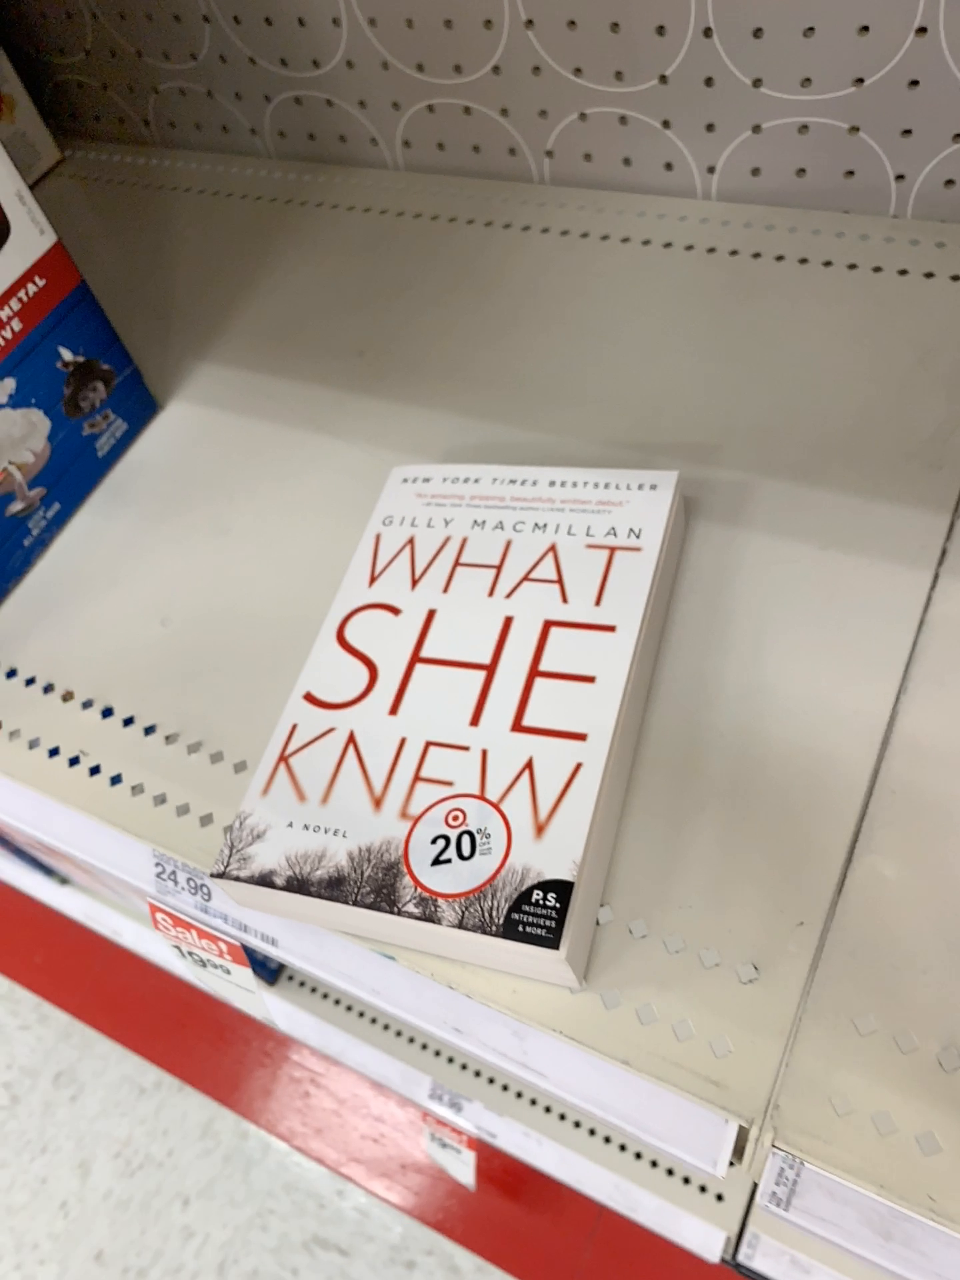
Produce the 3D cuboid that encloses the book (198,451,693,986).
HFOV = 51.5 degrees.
[{"bbox_3d":[-0.003,0.014,0.383,0.130,0.041,0.198,6,56,21],"label":"book"}]
